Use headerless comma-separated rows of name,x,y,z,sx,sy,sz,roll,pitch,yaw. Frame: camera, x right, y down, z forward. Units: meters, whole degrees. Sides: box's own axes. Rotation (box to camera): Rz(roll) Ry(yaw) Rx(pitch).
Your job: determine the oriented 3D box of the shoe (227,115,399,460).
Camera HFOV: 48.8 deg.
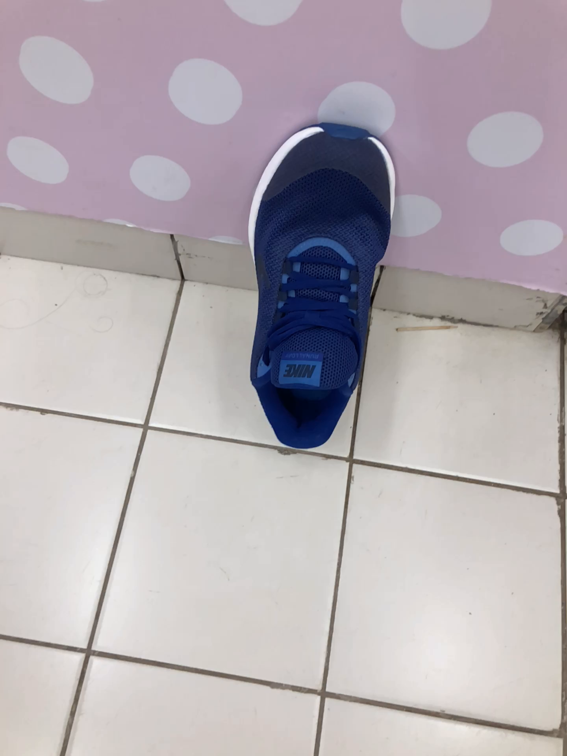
shoe,0.017,-0.071,0.494,0.100,0.239,0.110,5,25,1
